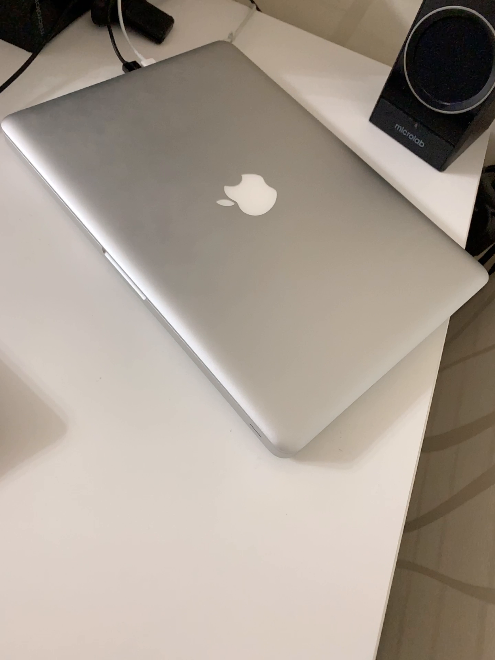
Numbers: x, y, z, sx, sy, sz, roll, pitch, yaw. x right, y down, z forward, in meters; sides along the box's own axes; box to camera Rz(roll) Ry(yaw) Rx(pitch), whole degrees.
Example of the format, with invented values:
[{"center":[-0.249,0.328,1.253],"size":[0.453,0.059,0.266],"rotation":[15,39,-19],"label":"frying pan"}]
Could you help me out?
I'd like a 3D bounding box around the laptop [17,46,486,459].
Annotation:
[{"center":[0.001,-0.091,0.383],"size":[0.207,0.011,0.305],"rotation":[-35,72,-24],"label":"laptop"}]
